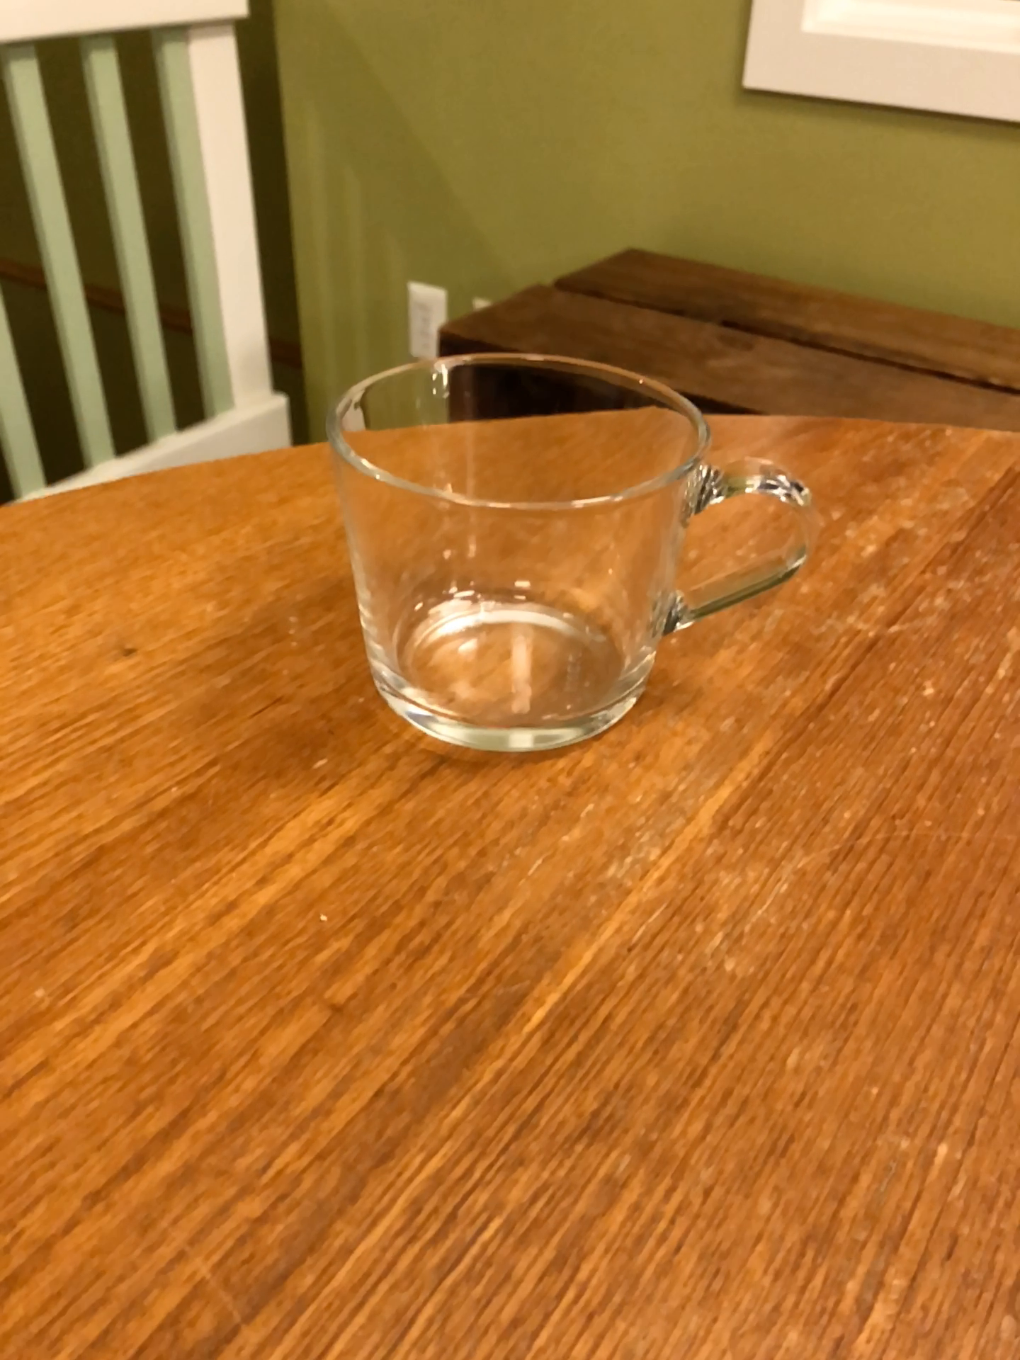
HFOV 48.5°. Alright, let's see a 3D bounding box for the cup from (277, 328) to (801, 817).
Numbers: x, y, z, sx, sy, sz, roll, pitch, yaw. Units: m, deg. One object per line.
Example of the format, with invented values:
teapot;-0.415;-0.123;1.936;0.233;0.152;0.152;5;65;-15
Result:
cup;0.012;-0.035;0.323;0.120;0.089;0.101;6;35;6
